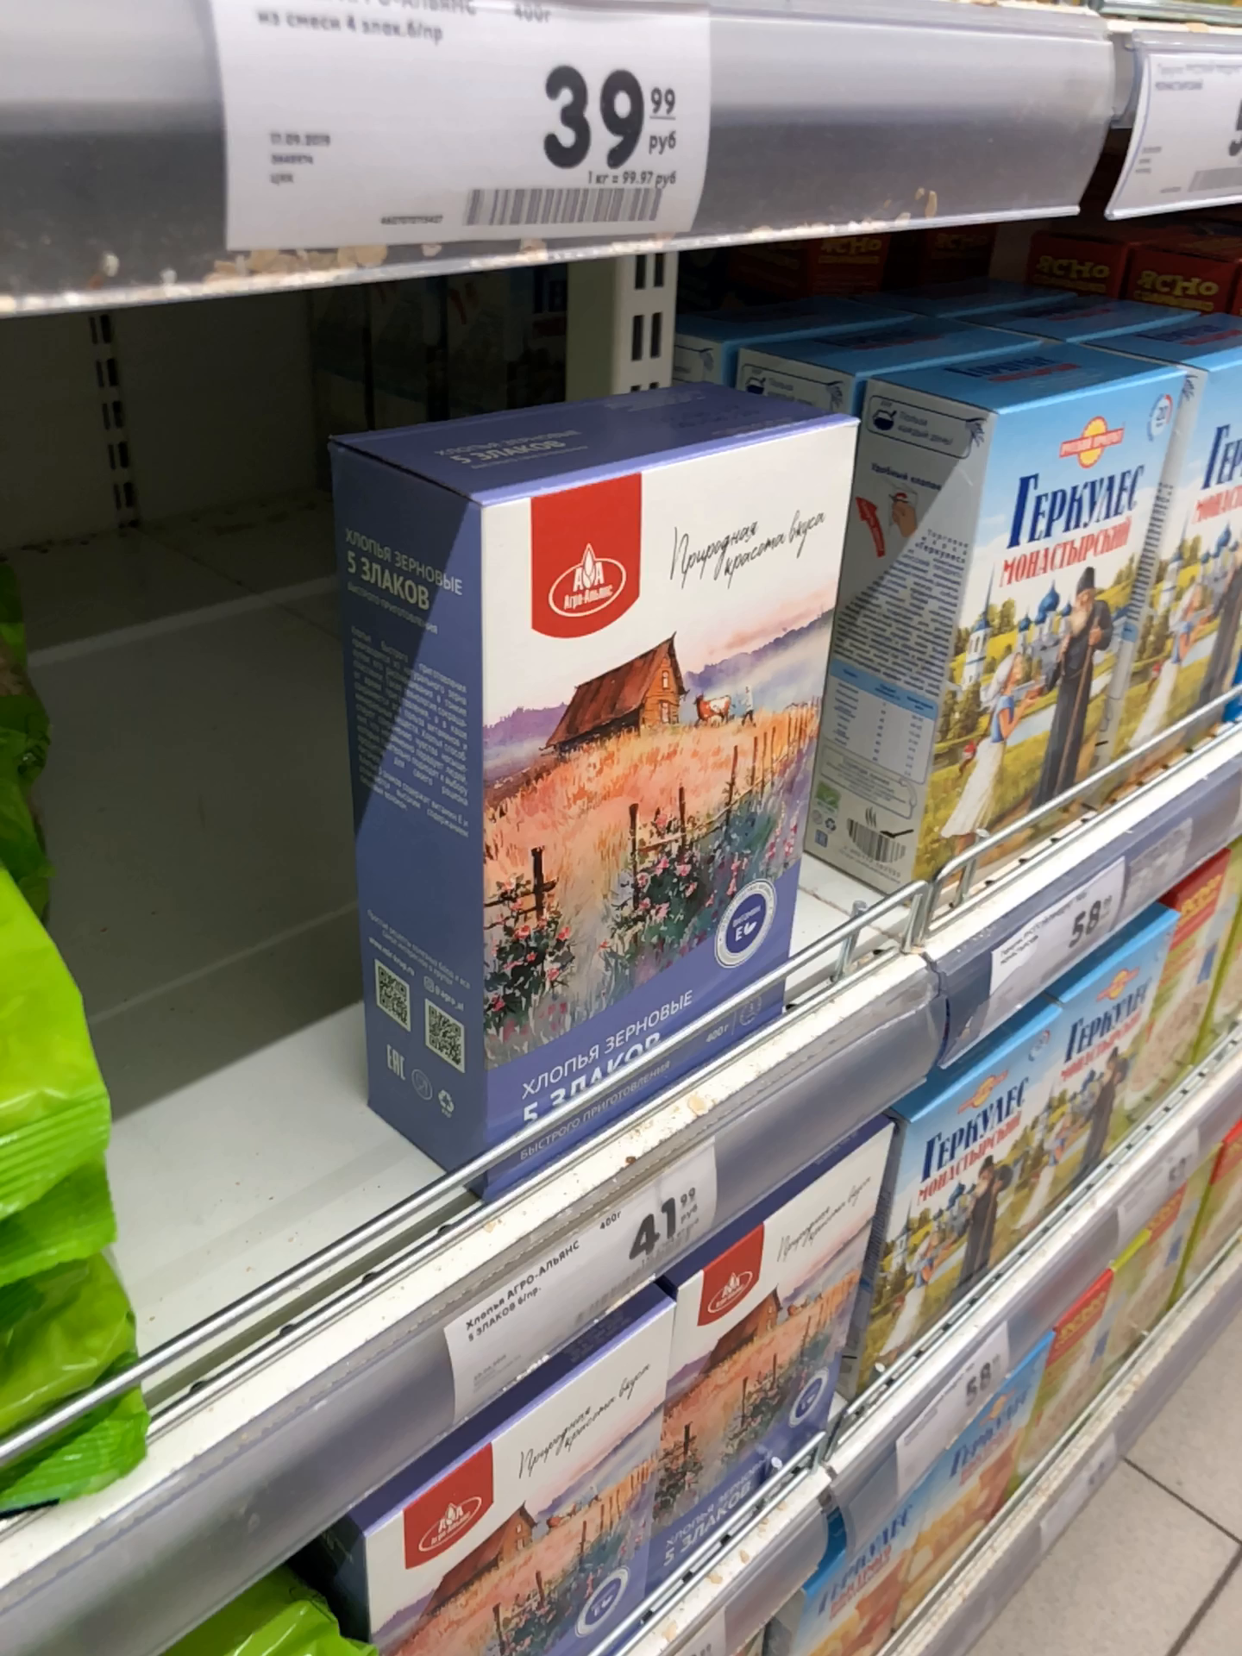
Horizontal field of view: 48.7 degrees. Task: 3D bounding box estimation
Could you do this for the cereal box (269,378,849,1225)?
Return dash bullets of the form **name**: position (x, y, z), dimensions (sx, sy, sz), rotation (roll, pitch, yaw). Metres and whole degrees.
- **cereal box**: position (-0.014, -0.011, 0.391), dimensions (0.140, 0.199, 0.060), rotation (-24, 39, -38)
